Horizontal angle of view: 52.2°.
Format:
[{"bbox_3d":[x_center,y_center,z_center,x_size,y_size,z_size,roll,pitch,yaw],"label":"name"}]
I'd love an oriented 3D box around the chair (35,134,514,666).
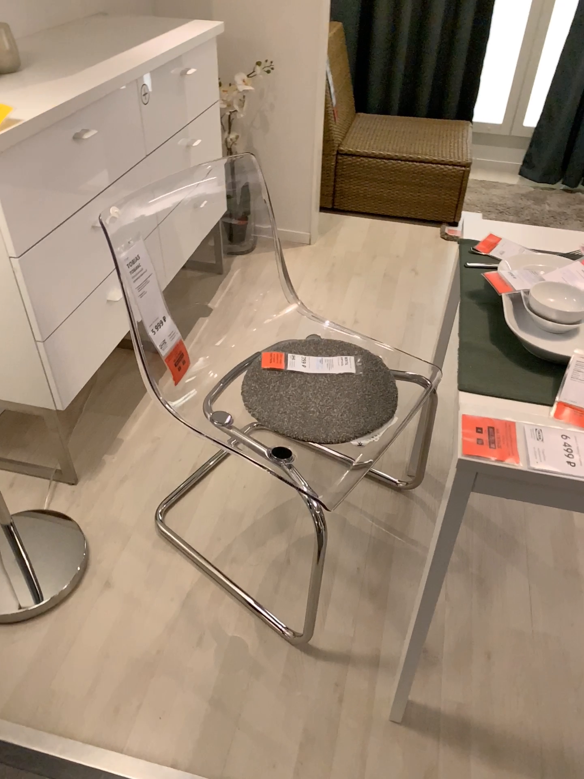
[{"bbox_3d":[-0.018,-0.007,1.283,0.592,0.791,0.593,26,45,26],"label":"chair"}]
